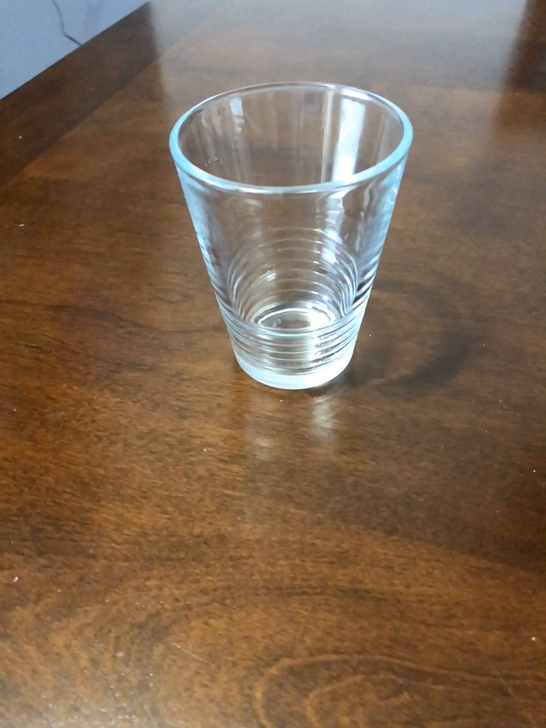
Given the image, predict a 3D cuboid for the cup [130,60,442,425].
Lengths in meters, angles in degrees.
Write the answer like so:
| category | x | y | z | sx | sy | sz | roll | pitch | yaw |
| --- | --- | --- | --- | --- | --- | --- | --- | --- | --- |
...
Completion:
| category | x | y | z | sx | sy | sz | roll | pitch | yaw |
| --- | --- | --- | --- | --- | --- | --- | --- | --- | --- |
| cup | 0.003 | -0.047 | 0.235 | 0.080 | 0.100 | 0.070 | -20 | 47 | -16 |
